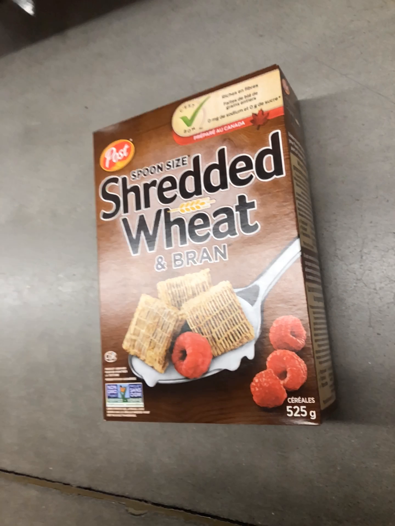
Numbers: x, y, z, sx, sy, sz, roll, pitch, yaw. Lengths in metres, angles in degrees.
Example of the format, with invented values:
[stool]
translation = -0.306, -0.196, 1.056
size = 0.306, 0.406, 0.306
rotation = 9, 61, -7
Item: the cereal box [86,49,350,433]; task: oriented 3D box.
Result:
[cereal box]
translation = 0.006, -0.007, 0.387
size = 0.200, 0.070, 0.280
rotation = -10, 79, 28
